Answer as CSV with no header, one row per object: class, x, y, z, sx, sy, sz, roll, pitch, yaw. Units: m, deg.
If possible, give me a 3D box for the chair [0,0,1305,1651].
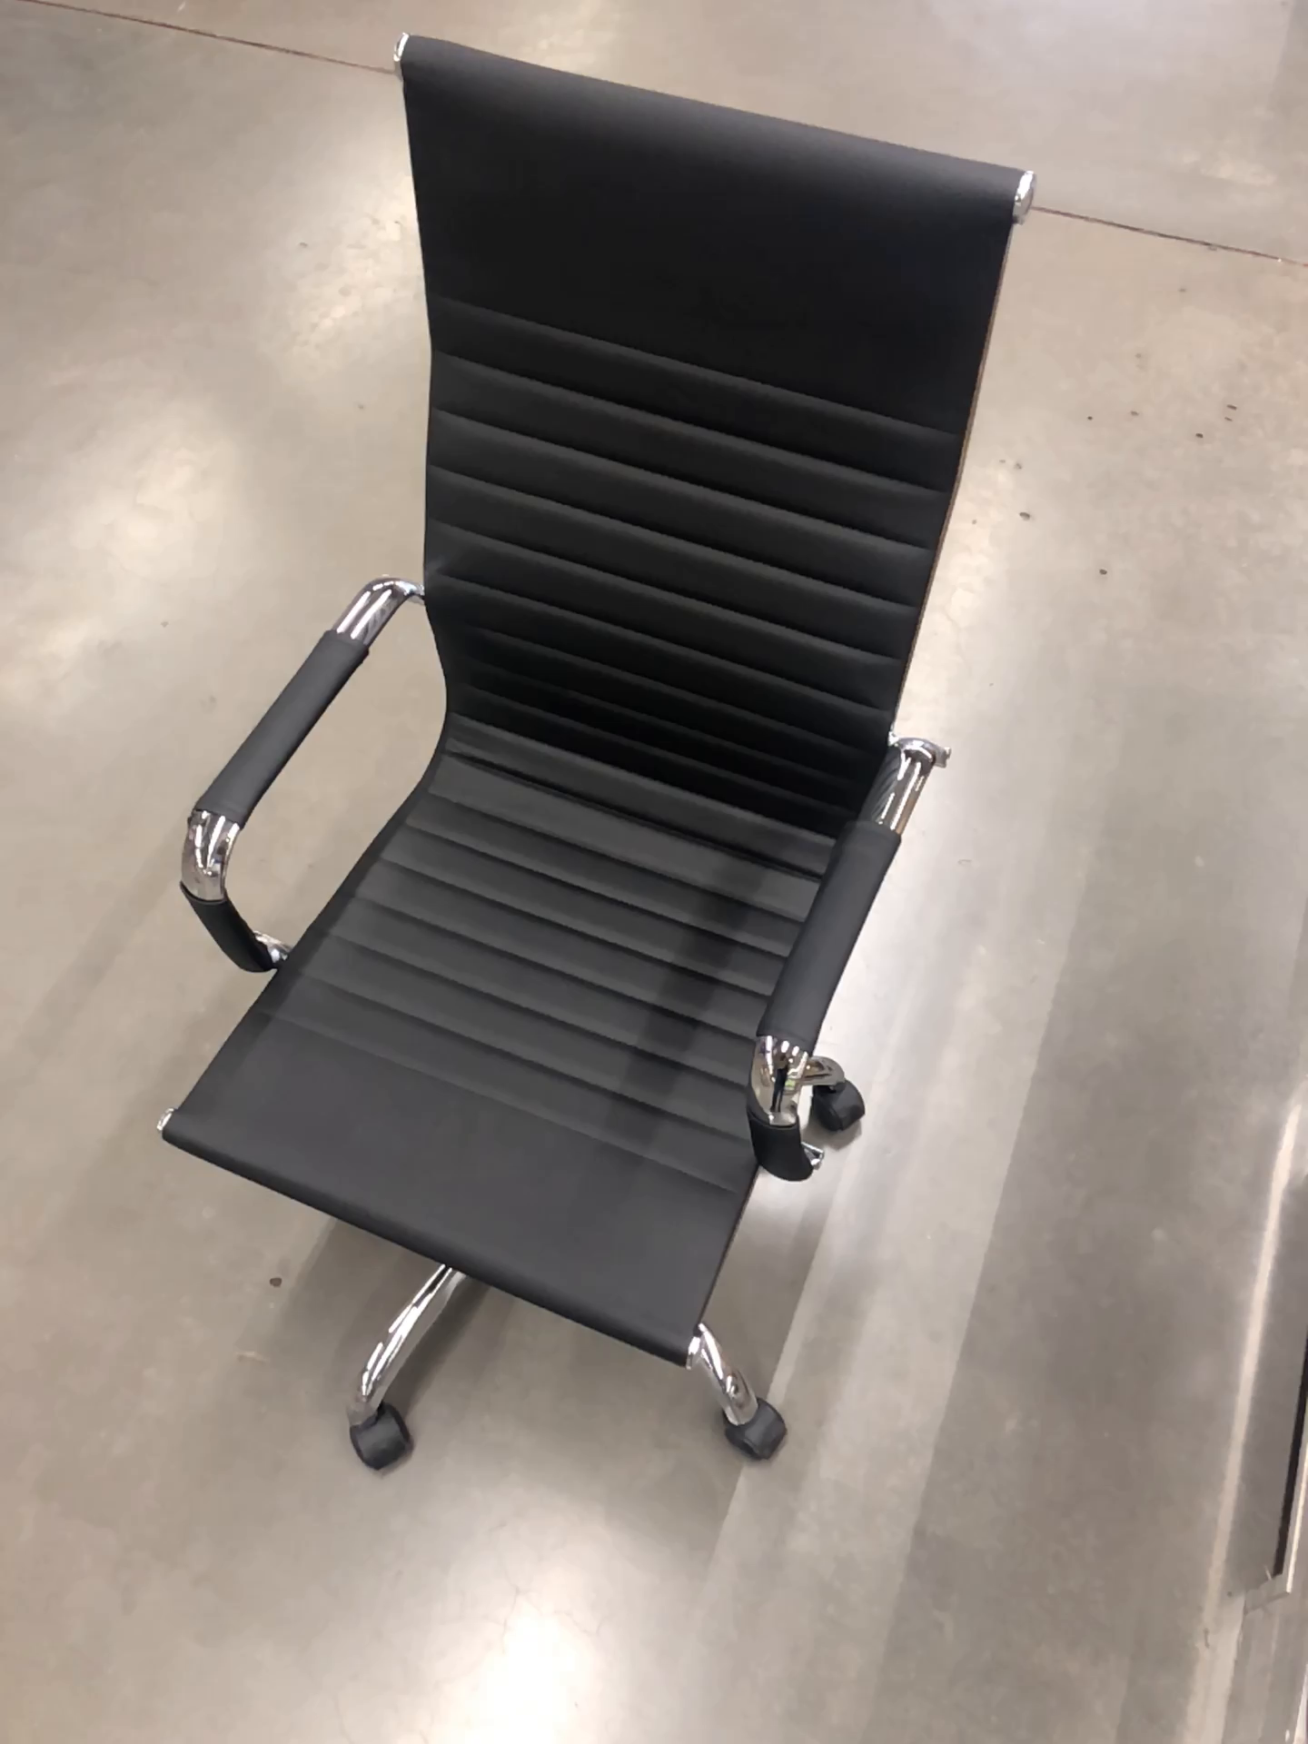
chair,-0.080,0.063,1.206,0.670,1.095,0.743,22,58,11
